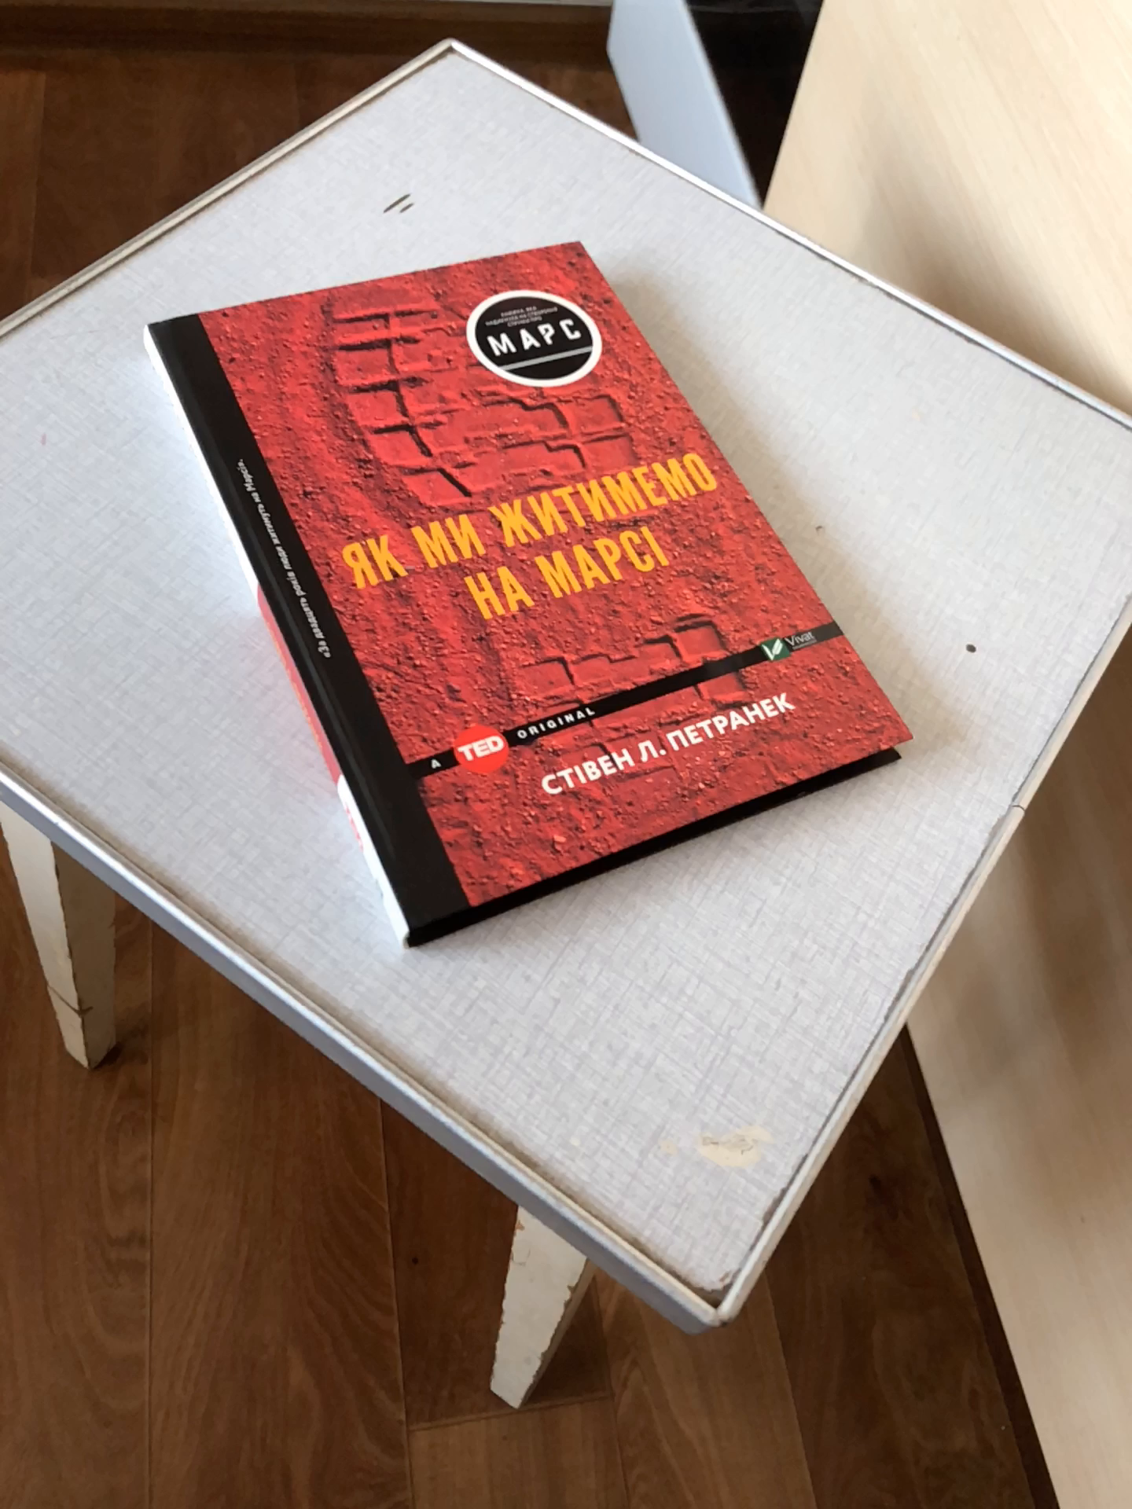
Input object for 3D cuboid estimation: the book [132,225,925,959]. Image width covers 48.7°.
[{"bbox_3d":[-0.018,-0.064,0.357,0.150,0.020,0.209,-19,64,-18],"label":"book"}]
